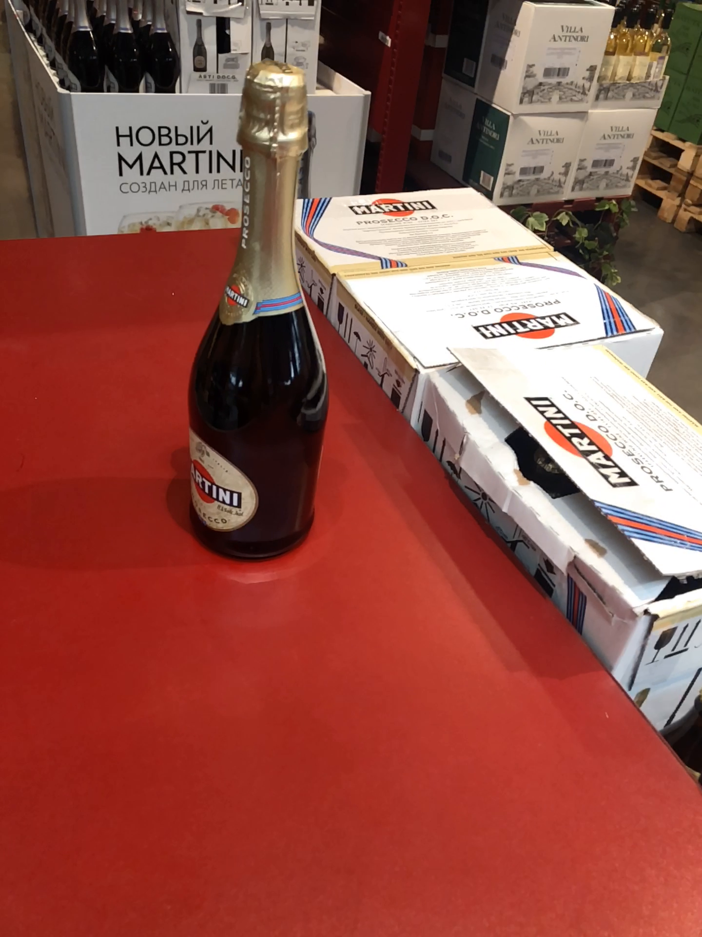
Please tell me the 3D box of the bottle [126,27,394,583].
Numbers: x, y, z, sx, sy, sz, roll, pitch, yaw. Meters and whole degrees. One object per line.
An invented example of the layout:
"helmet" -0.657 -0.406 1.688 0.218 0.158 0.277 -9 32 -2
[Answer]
"bottle" -0.060 -0.083 0.465 0.090 0.302 0.100 -22 47 -32
